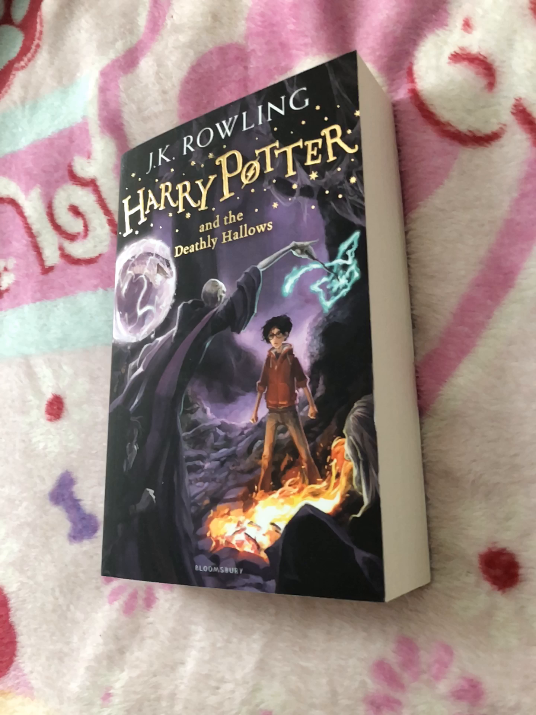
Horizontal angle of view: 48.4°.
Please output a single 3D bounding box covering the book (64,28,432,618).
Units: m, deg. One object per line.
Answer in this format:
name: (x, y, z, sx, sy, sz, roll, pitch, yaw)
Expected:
book: (-0.012, -0.007, 0.242, 0.126, 0.060, 0.187, -9, 75, 34)
